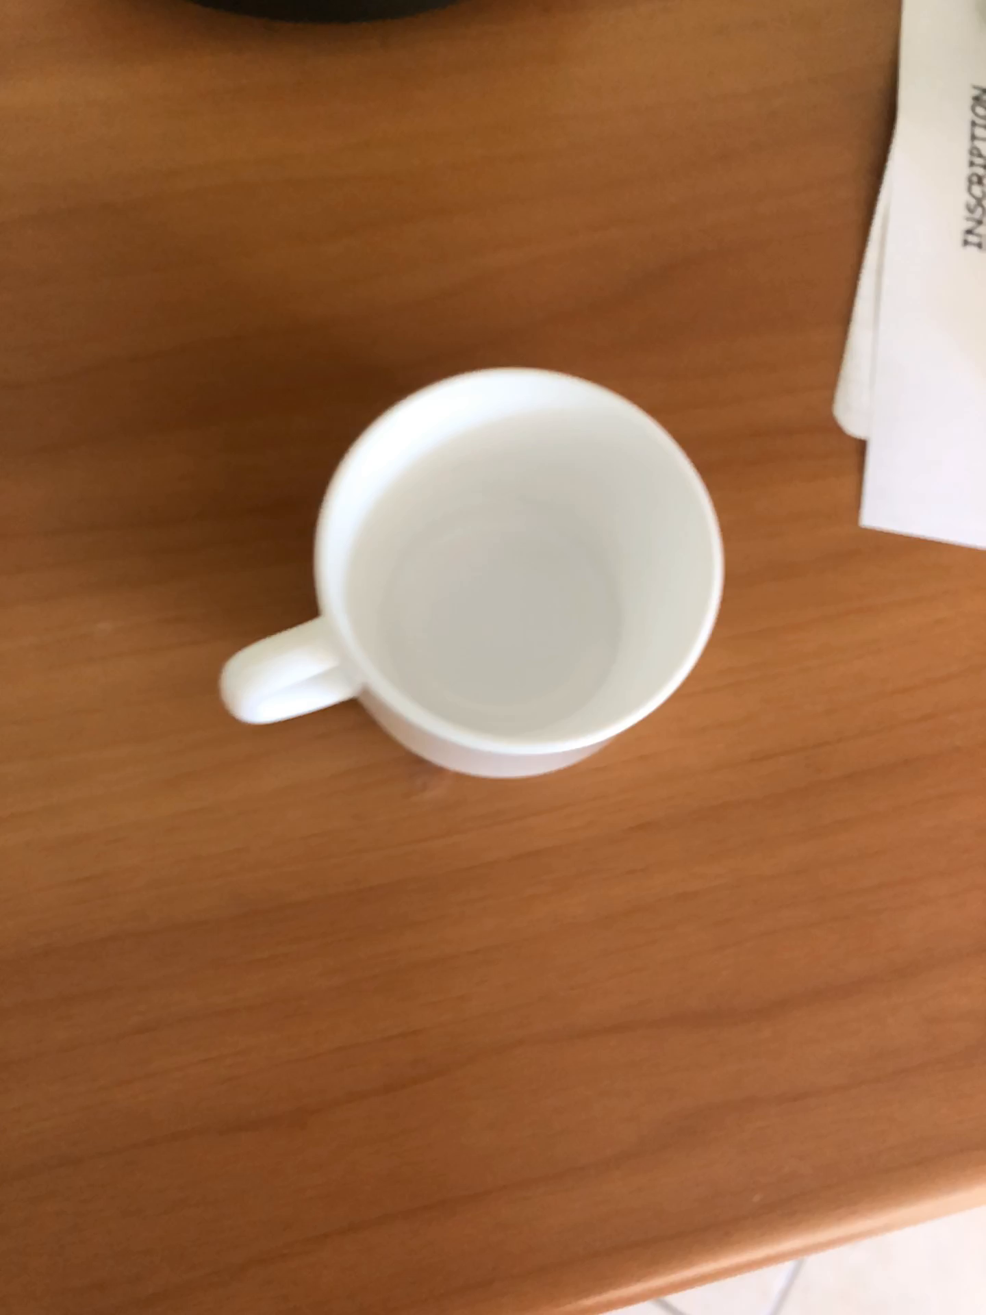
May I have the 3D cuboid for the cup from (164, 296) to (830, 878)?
[{"bbox_3d":[-0.001,-0.012,0.227,0.100,0.050,0.080,-20,79,-9],"label":"cup"}]
